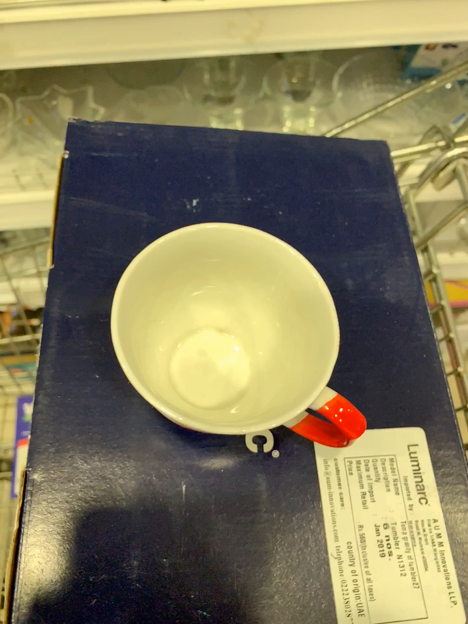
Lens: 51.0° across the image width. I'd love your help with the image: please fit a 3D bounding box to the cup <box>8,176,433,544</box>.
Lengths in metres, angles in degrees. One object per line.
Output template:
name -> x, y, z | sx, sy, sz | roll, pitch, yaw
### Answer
cup -> -0.002, 0.017, 0.162 | 0.100, 0.050, 0.070 | 26, 68, 4
